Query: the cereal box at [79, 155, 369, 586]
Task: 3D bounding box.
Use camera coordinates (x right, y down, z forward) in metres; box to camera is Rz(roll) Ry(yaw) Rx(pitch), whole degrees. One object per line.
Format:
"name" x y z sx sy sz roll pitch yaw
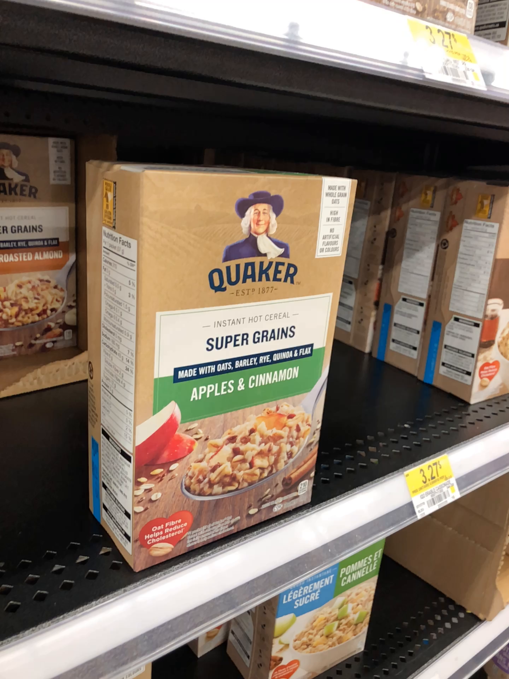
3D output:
"cereal box" -0.020 0.010 0.307 0.130 0.199 0.060 -9 24 -36
